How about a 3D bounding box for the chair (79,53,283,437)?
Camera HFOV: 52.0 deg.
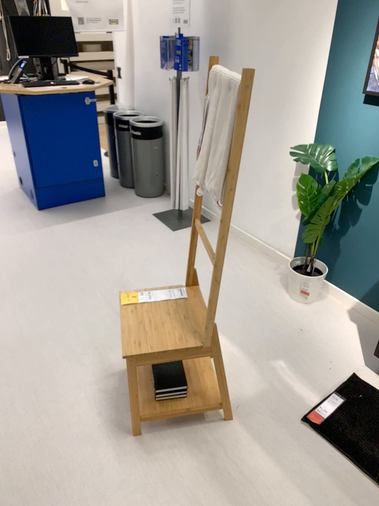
[{"bbox_3d":[-0.053,0.018,1.407,0.470,1.294,0.462,-4,31,-8],"label":"chair"}]
